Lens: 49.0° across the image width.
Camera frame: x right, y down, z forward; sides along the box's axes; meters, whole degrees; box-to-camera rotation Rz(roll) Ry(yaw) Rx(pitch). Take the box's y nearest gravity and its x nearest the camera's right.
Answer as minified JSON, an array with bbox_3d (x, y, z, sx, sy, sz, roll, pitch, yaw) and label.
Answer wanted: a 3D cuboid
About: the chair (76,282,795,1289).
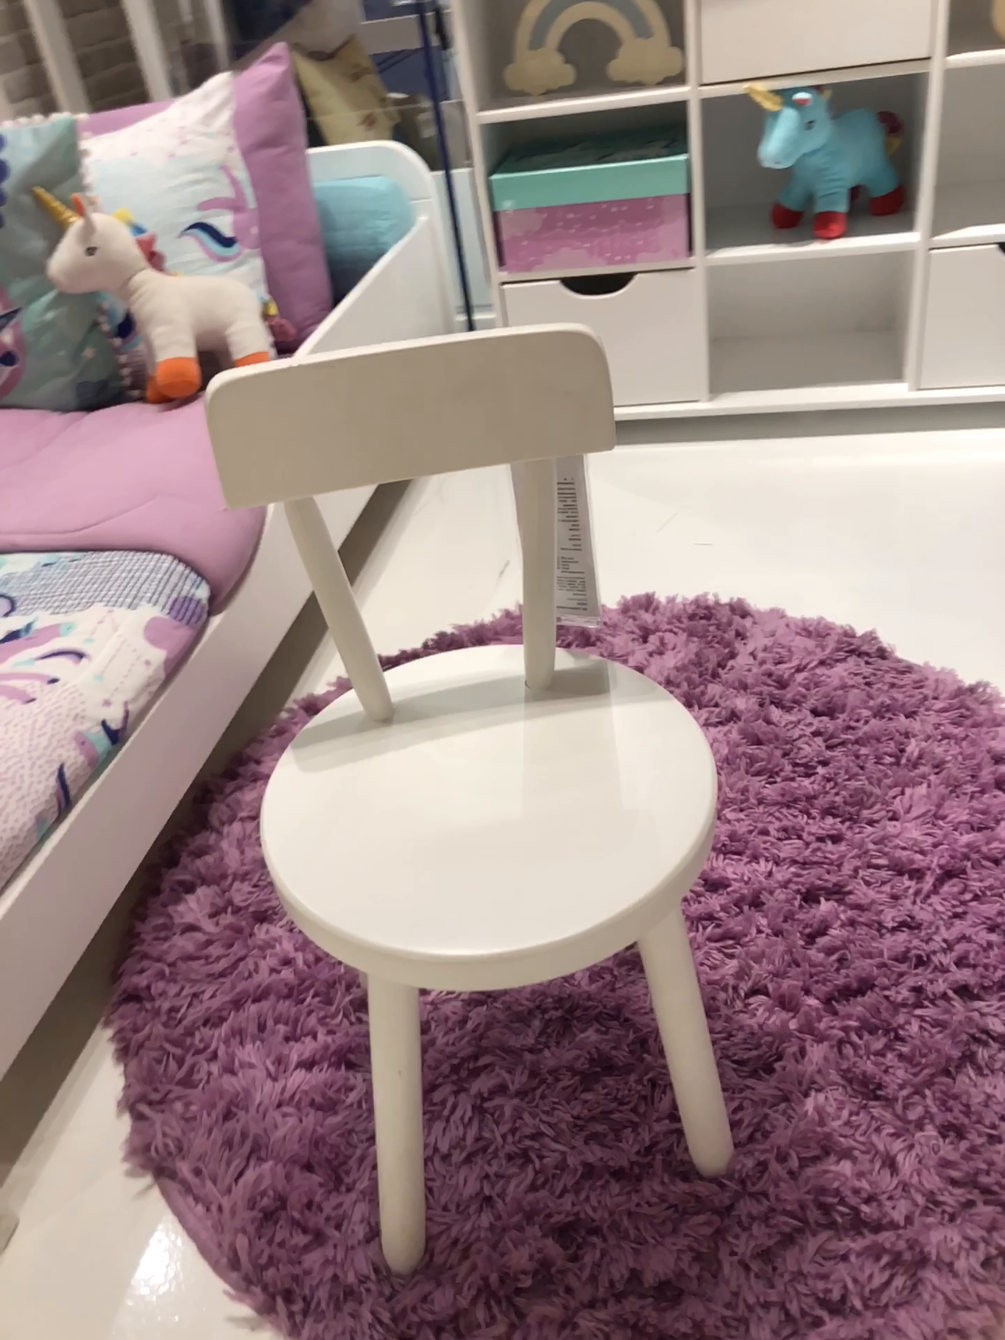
[{"bbox_3d":[-0.015,0.091,0.771,0.320,0.576,0.312,-13,35,-5],"label":"chair"}]
